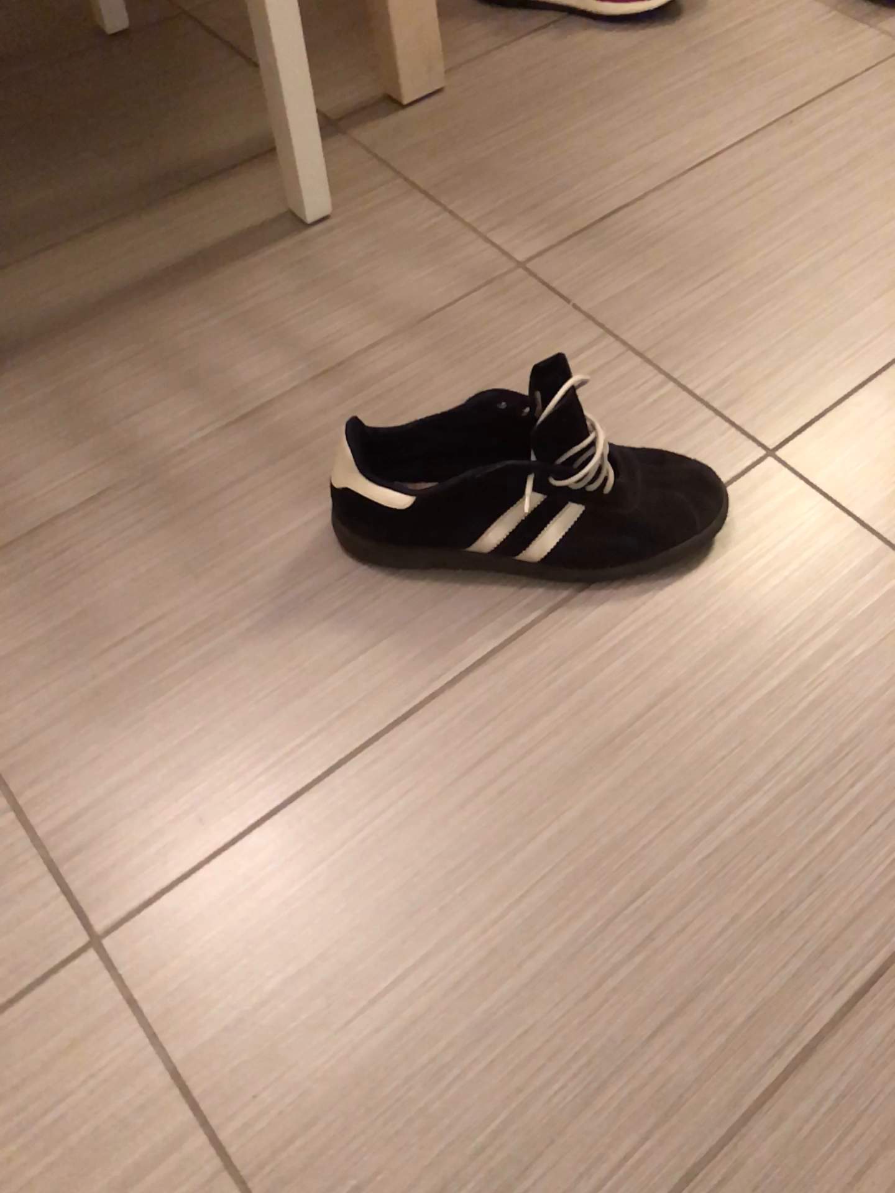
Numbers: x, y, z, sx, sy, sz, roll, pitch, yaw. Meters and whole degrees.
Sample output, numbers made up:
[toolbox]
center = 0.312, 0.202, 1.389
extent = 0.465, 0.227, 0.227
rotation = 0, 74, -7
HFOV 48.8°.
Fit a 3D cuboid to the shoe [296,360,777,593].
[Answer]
[shoe]
center = 0.057, -0.085, 0.715
extent = 0.310, 0.119, 0.110
rotation = -1, 56, 0
